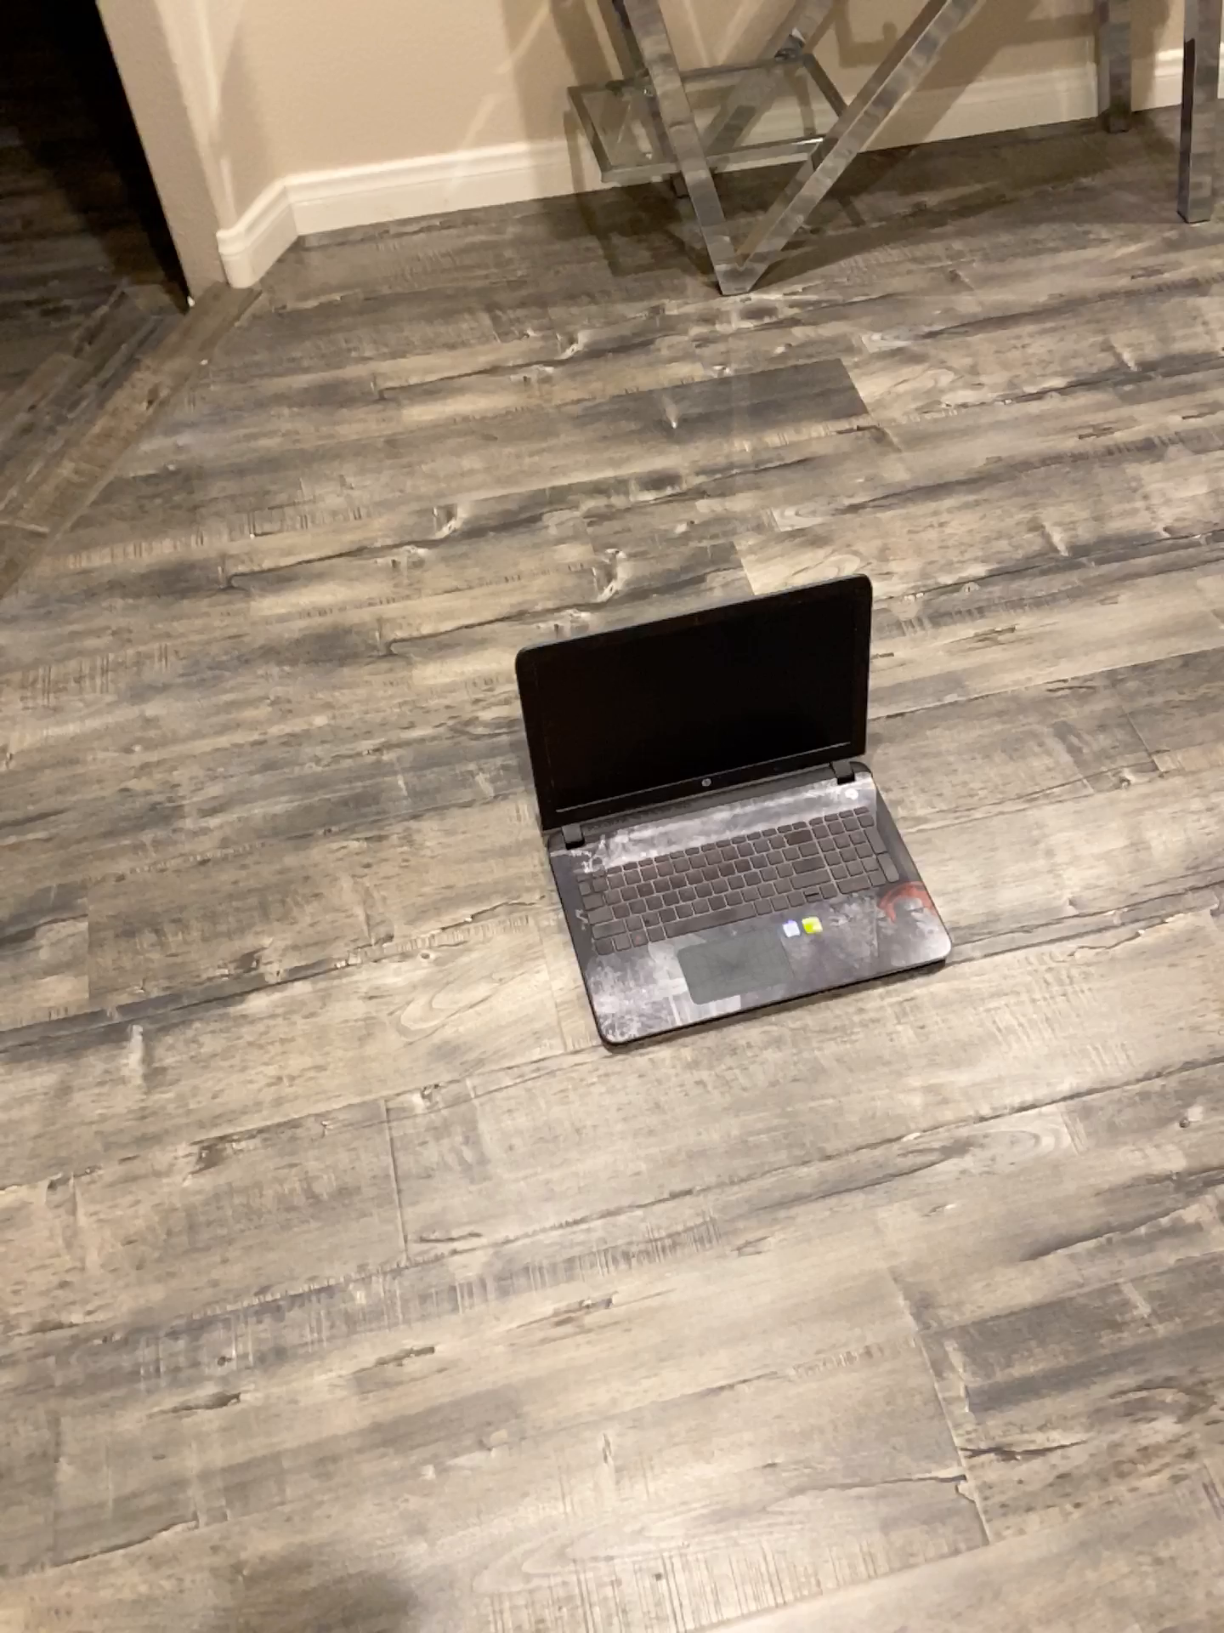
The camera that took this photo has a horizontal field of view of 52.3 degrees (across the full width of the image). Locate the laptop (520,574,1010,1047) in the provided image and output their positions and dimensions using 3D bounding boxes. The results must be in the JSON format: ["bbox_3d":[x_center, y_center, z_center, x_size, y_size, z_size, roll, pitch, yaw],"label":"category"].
[{"bbox_3d":[0.132,-0.011,1.257,0.371,0.225,0.328,-13,57,-8],"label":"laptop"}]
